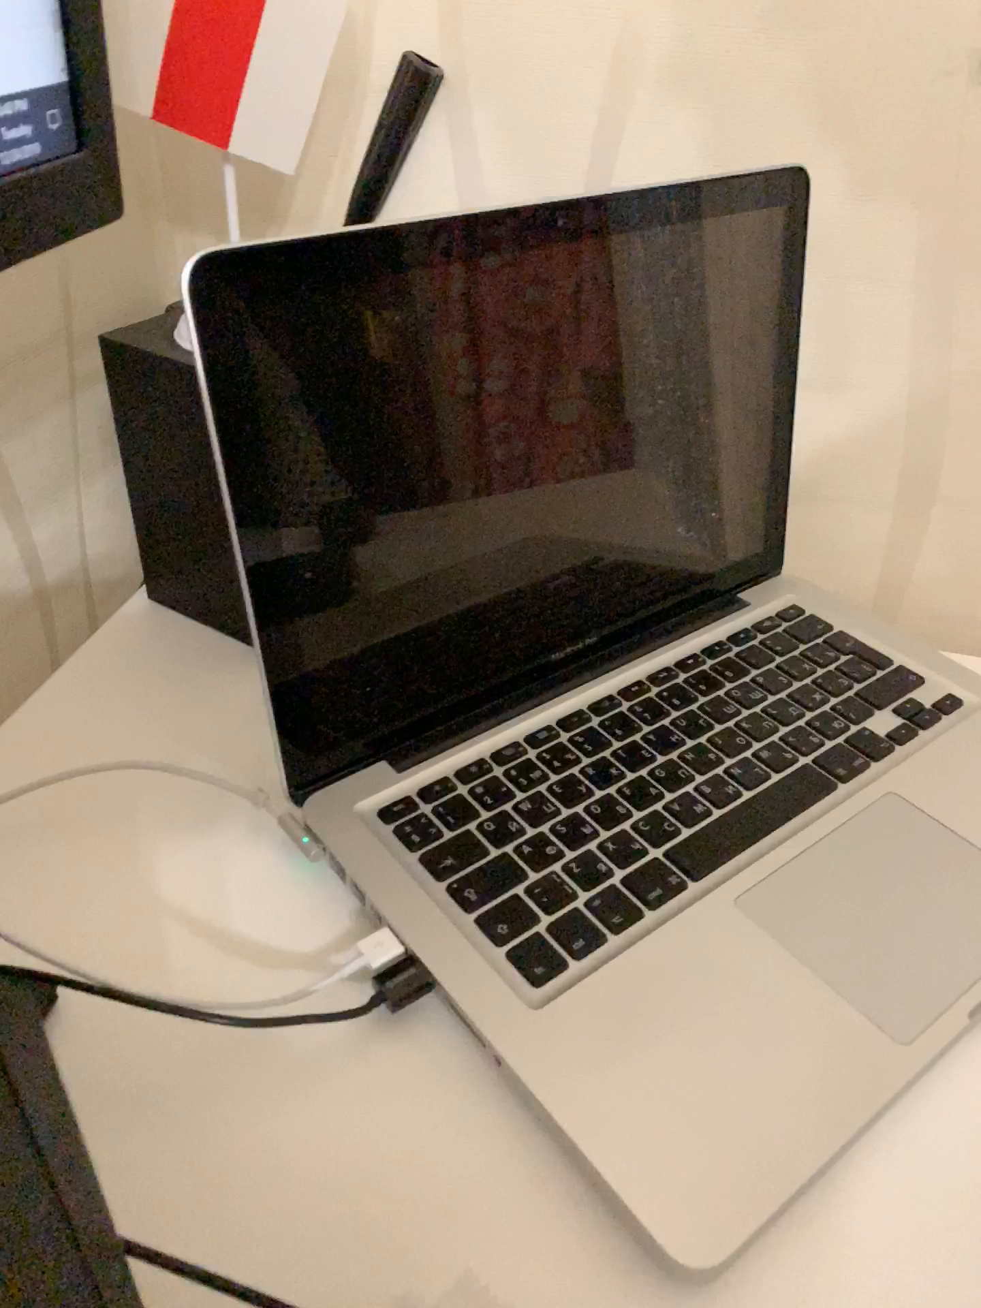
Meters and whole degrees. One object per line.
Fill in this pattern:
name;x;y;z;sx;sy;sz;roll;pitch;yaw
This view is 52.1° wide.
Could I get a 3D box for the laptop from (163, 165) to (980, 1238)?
laptop;0.089;-0.036;0.373;0.301;0.196;0.250;-24;43;-32
